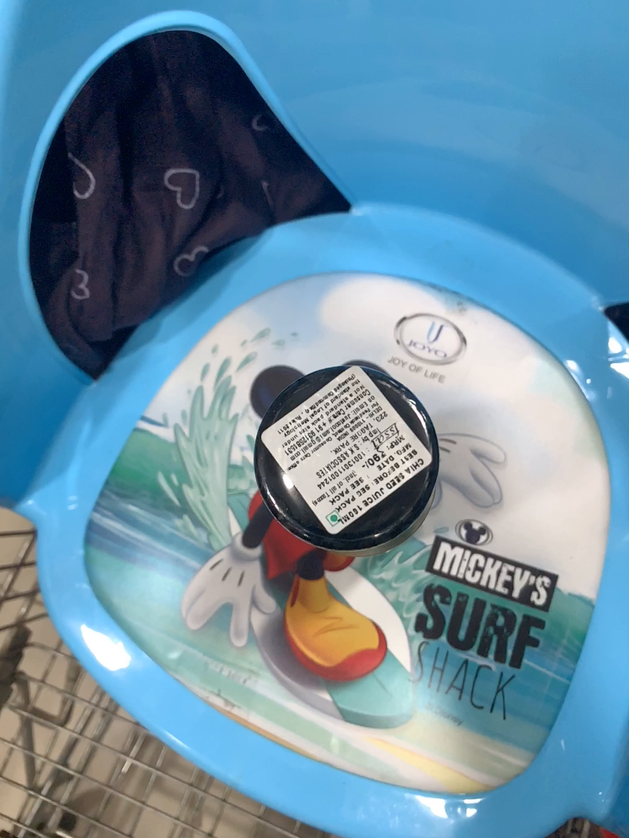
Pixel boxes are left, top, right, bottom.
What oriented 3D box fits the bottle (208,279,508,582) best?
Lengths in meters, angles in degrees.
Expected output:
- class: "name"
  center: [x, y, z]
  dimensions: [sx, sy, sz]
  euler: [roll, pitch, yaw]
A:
- class: "bottle"
  center: [0.016, 0.017, 0.215]
  dimensions: [0.050, 0.140, 0.050]
  euler: [-1, 75, 5]
